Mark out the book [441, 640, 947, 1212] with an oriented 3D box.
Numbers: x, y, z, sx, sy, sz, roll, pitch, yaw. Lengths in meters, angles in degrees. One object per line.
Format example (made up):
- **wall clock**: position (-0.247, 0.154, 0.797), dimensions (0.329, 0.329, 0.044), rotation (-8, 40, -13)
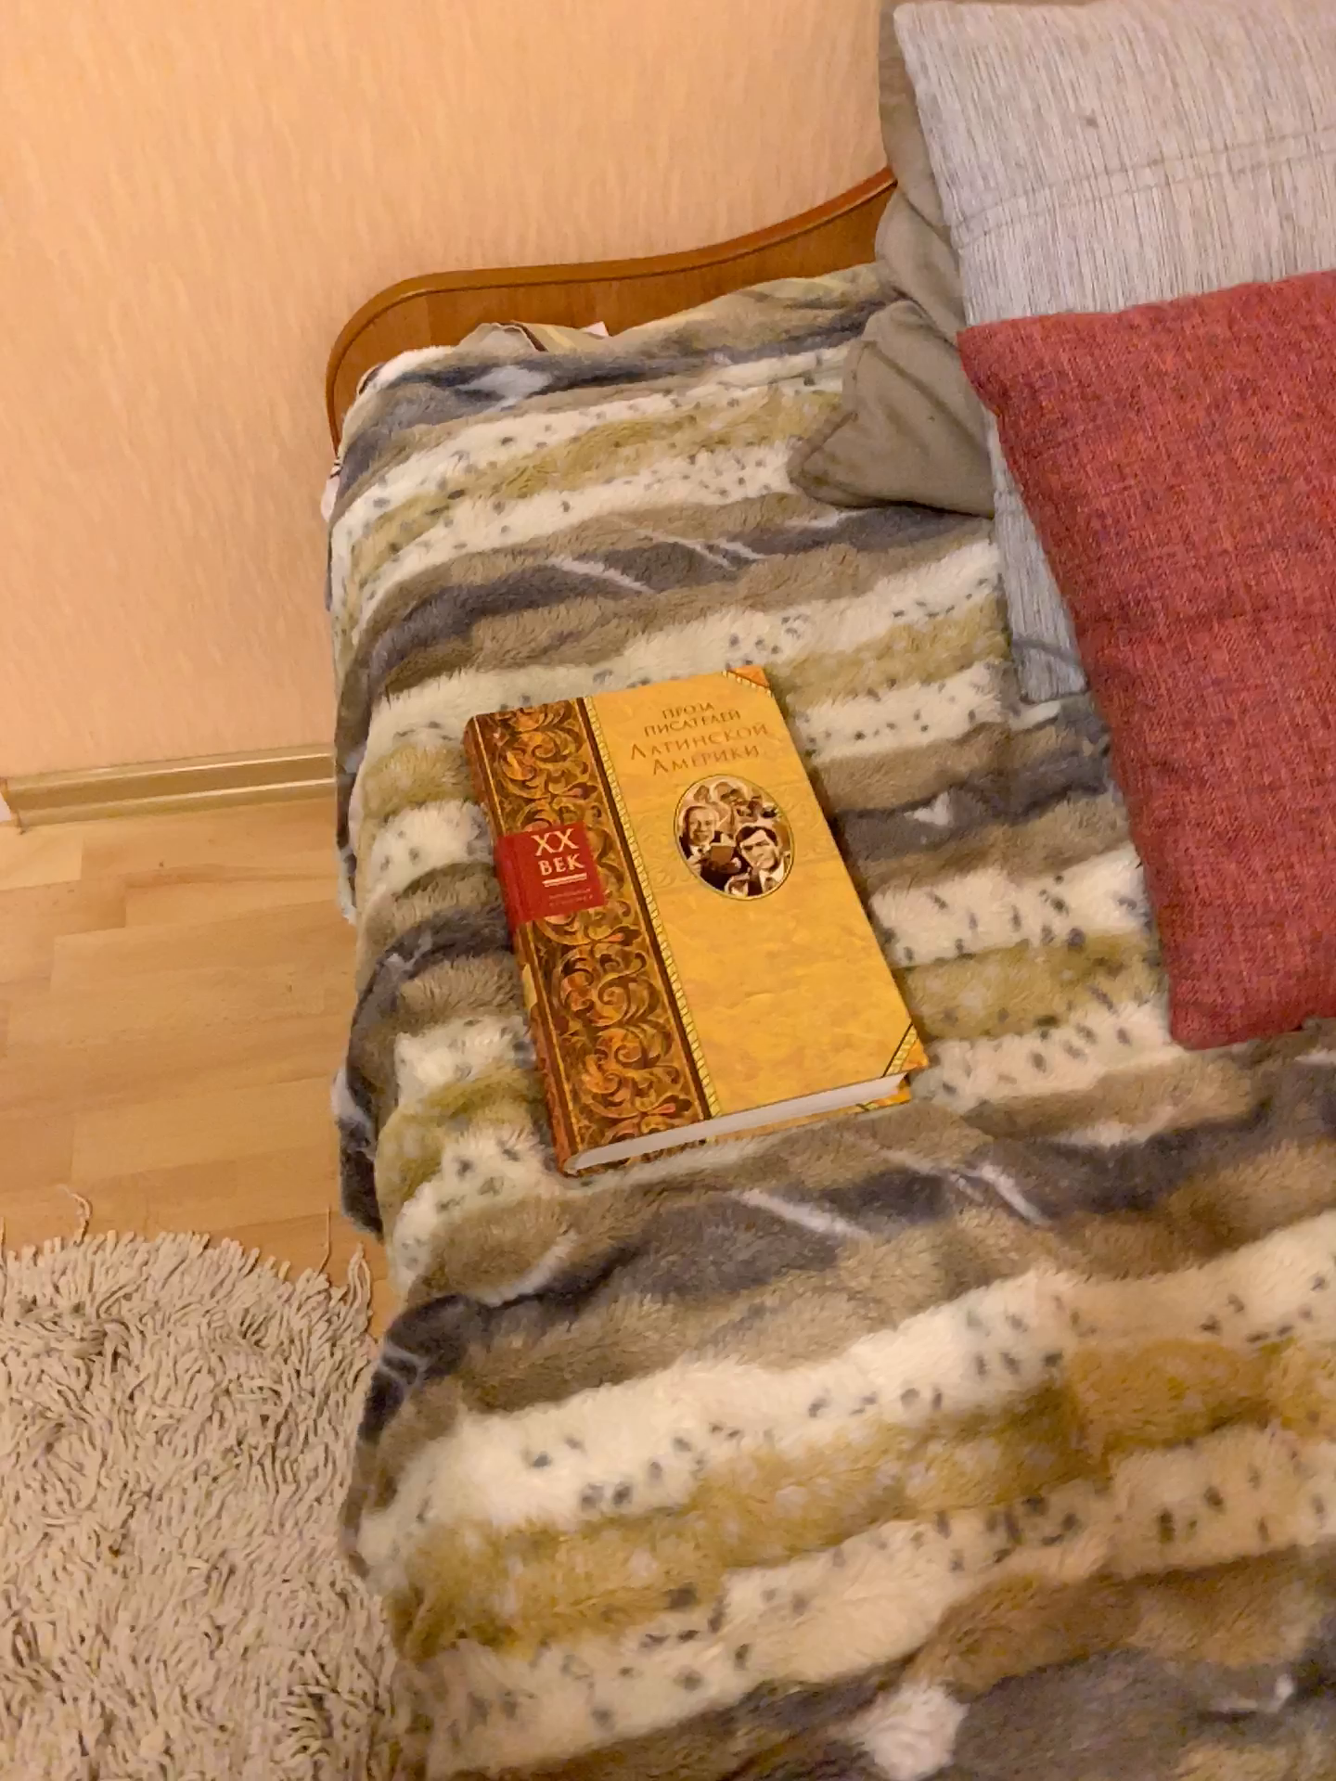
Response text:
- **book**: position (0.001, 0.004, 0.685), dimensions (0.180, 0.060, 0.272), rotation (-11, 55, -9)
